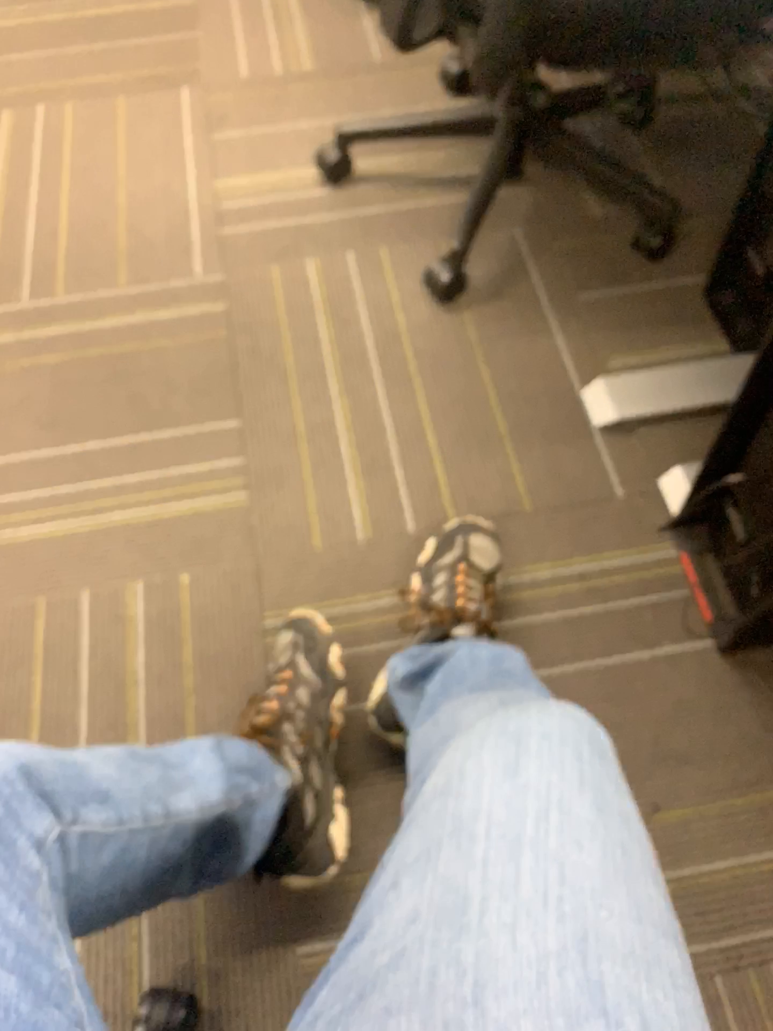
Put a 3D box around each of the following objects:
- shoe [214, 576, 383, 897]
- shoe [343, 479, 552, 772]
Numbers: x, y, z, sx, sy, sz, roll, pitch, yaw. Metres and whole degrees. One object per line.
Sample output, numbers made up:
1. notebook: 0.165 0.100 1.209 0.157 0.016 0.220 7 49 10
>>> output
1. shoe: -0.109 0.250 0.934 0.127 0.119 0.326 13 58 -37
2. shoe: 0.083 0.126 1.003 0.119 0.119 0.325 -2 58 43
